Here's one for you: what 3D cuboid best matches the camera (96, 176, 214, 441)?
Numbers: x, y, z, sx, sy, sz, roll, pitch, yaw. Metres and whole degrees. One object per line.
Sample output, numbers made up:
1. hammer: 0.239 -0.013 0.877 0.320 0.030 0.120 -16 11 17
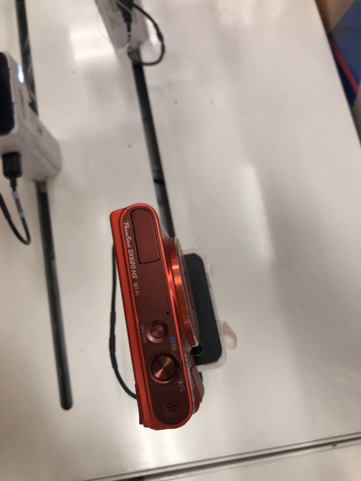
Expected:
1. camera: -0.011 0.032 0.206 0.030 0.060 0.110 -13 76 3
